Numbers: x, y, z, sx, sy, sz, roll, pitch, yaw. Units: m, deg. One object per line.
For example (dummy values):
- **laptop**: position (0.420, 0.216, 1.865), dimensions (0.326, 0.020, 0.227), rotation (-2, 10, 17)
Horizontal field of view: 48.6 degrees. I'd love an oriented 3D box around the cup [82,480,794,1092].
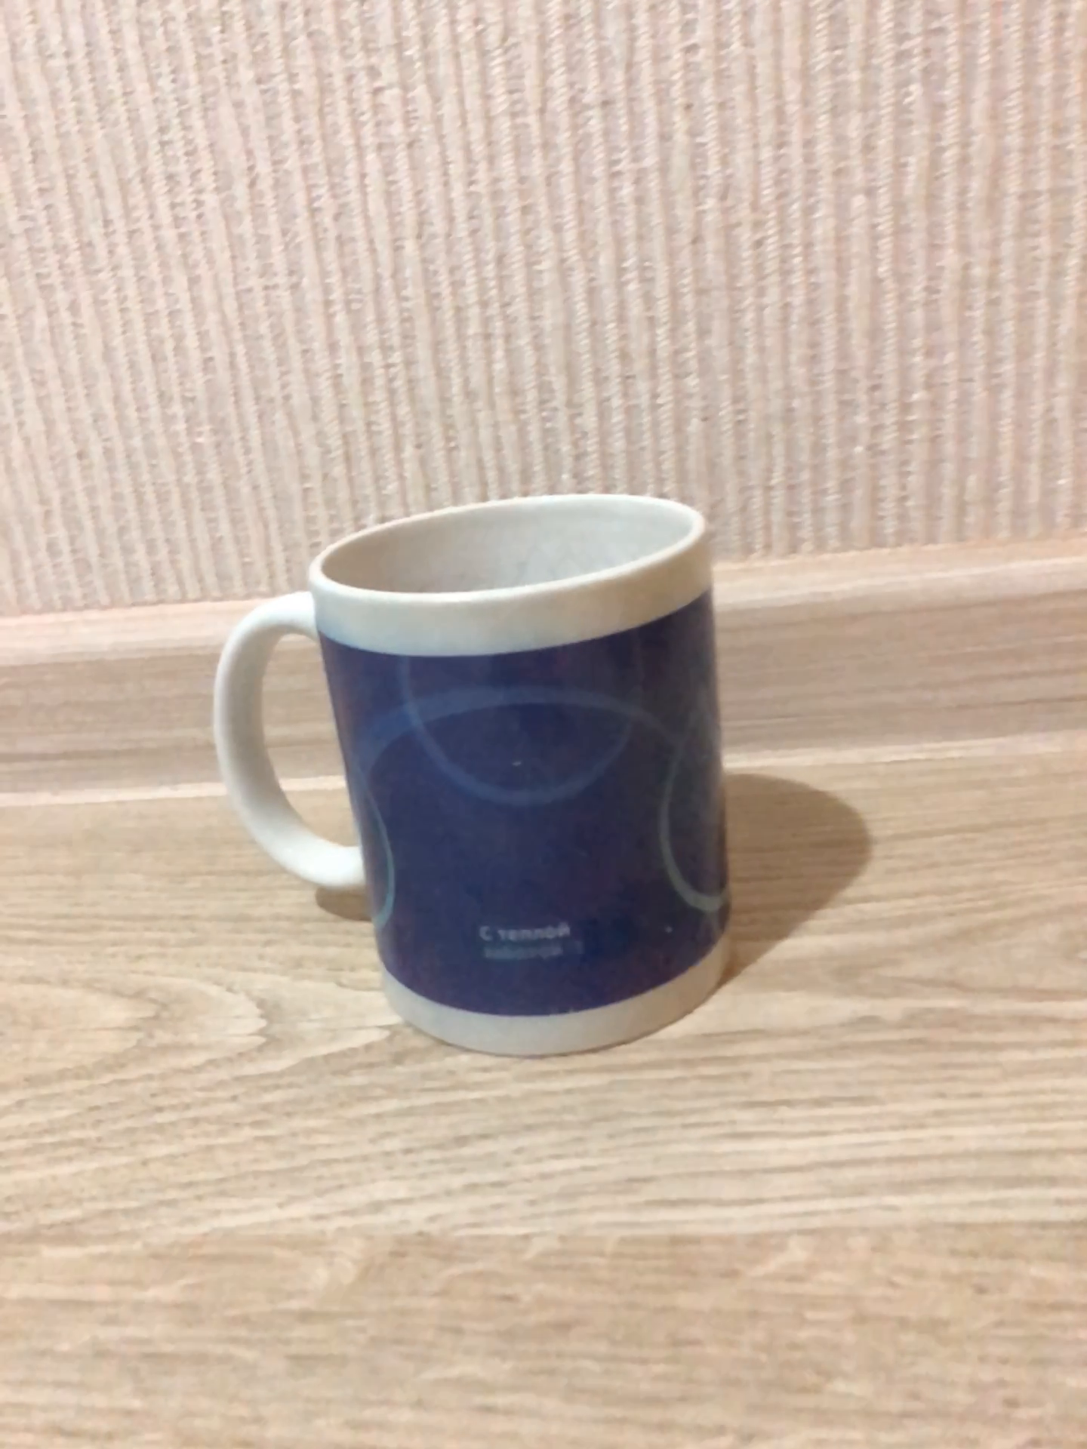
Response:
- **cup**: position (-0.014, 0.004, 0.276), dimensions (0.123, 0.099, 0.094), rotation (3, 22, 22)
